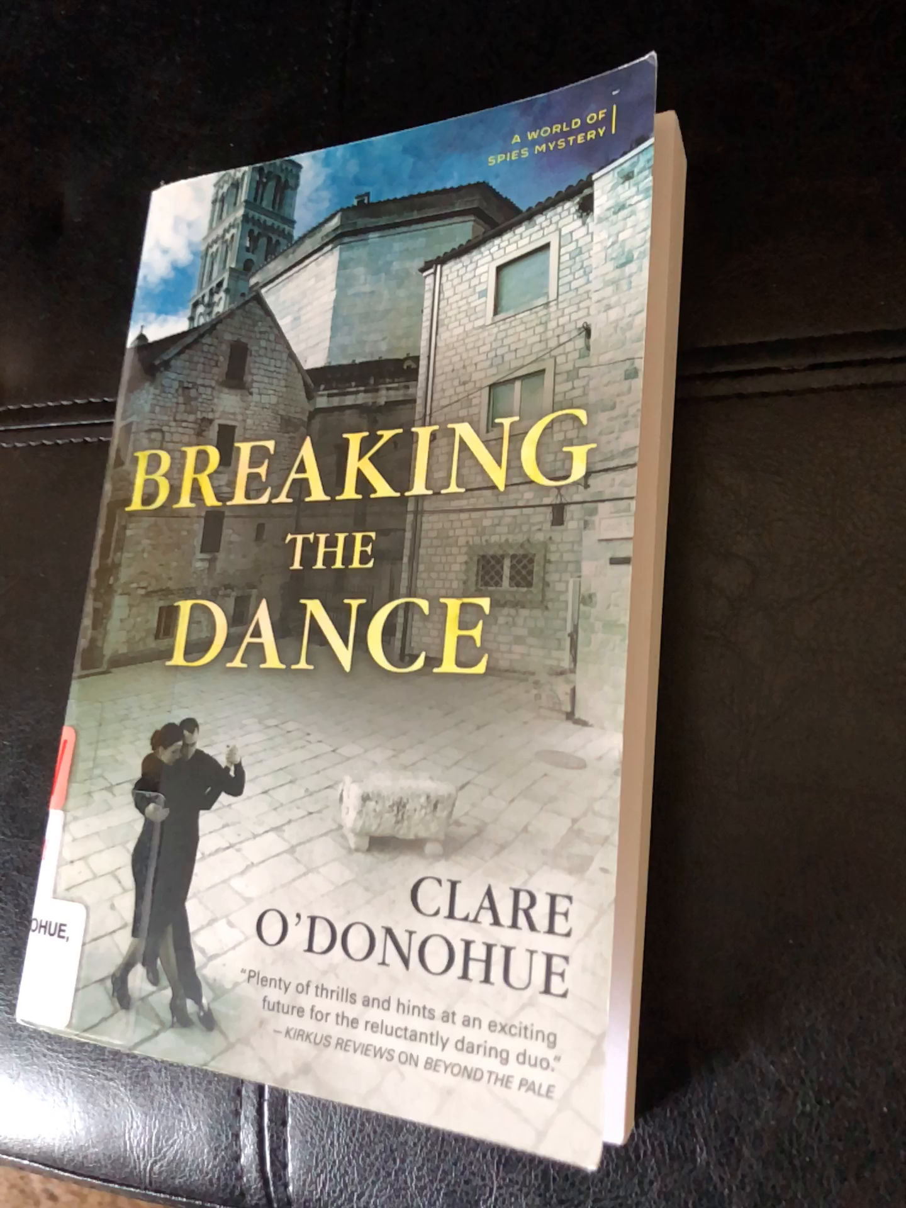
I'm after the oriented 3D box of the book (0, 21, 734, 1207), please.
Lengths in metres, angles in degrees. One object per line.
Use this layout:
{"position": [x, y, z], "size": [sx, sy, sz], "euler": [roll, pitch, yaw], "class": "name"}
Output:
{"position": [-0.018, -0.005, 0.216], "size": [0.140, 0.040, 0.210], "euler": [1, 79, 20], "class": "book"}
